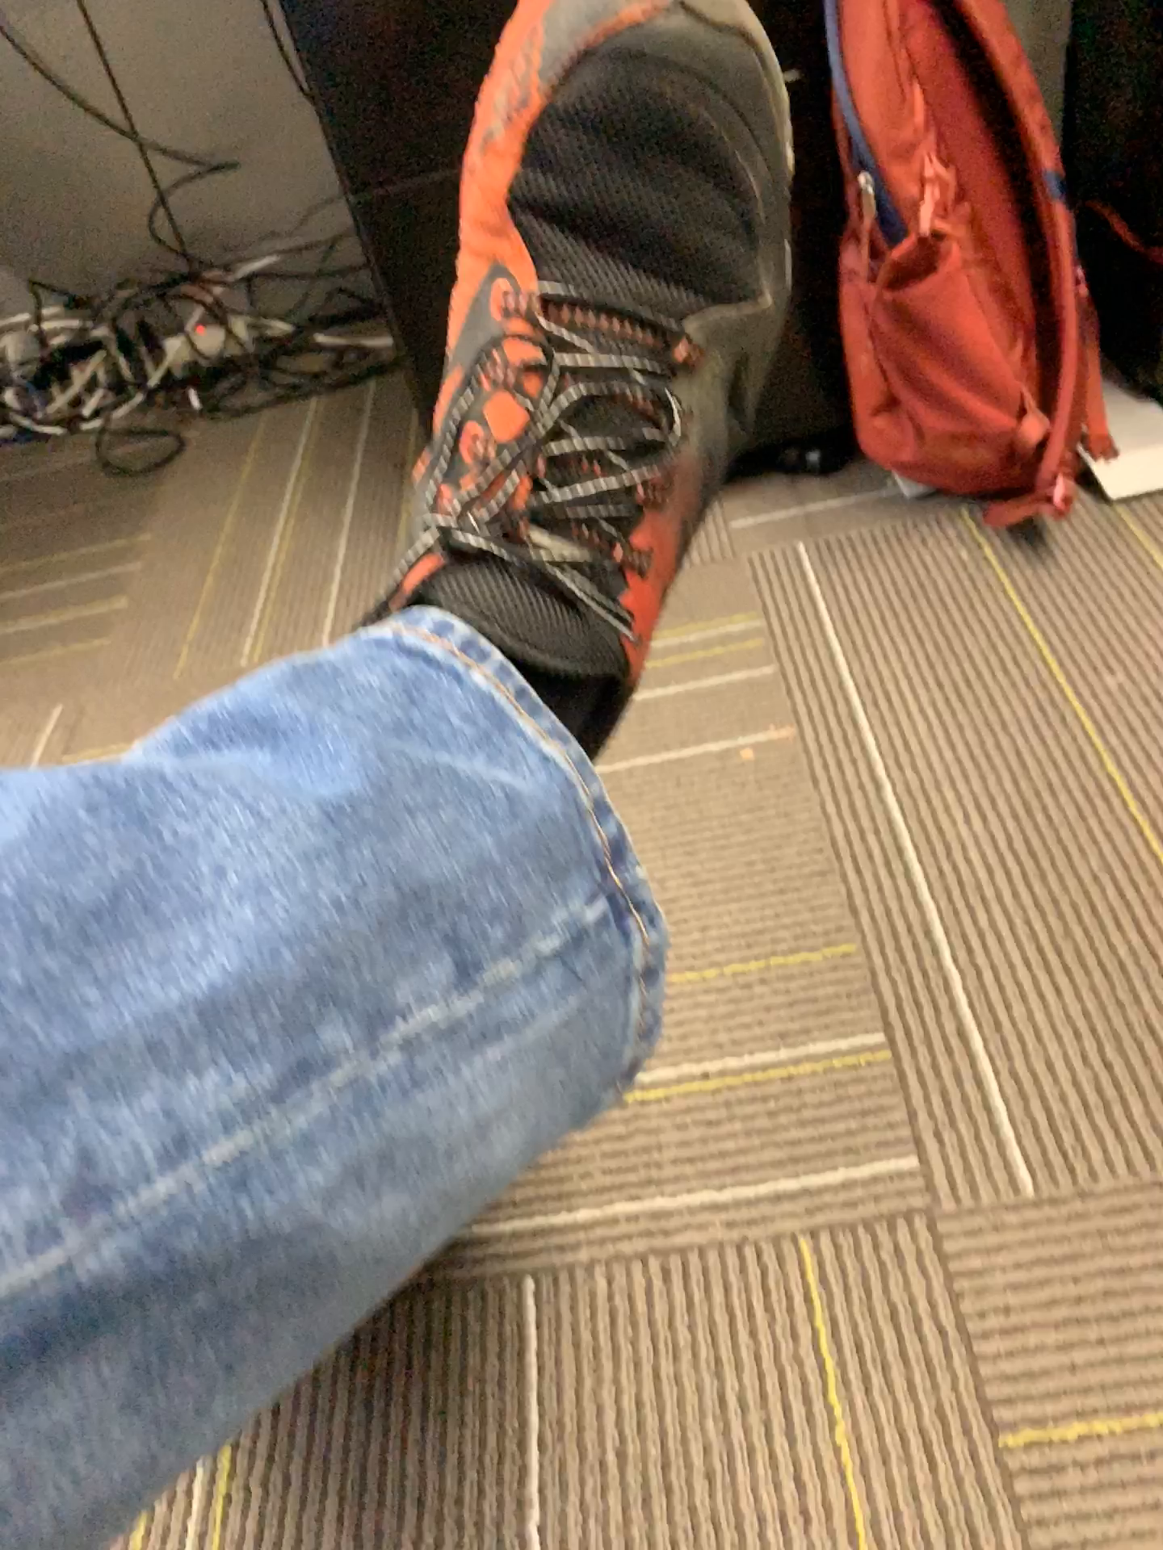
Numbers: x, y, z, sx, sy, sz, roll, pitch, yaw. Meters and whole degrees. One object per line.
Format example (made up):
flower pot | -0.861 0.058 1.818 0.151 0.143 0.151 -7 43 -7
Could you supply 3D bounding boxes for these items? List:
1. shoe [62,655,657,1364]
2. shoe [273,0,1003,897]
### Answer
shoe | -0.112 0.112 0.588 0.129 0.135 0.289 35 101 41
shoe | -0.014 -0.115 0.427 0.118 0.303 0.143 11 42 -21
